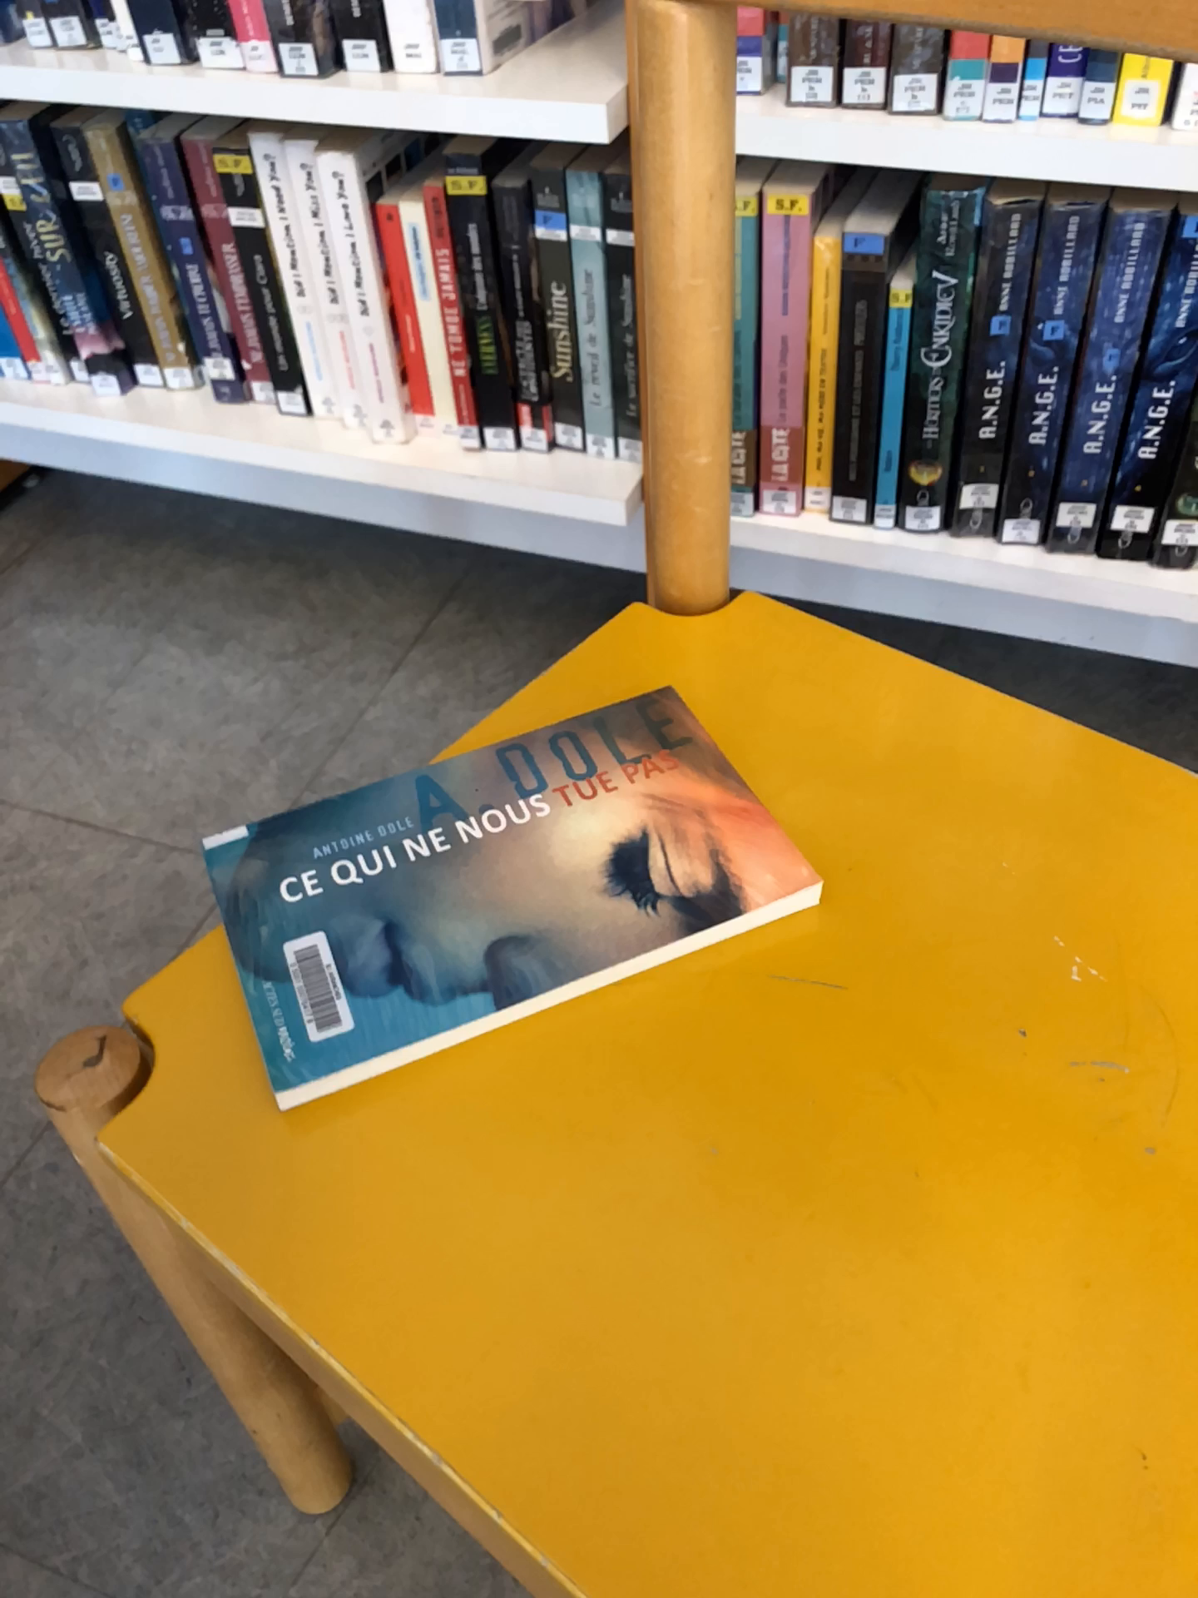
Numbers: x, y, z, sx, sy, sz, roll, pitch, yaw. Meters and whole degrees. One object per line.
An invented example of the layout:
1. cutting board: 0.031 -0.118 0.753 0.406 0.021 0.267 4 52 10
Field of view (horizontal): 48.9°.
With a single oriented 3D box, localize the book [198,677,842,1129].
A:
1. book: -0.035 0.028 0.512 0.213 0.016 0.141 -19 46 -15
